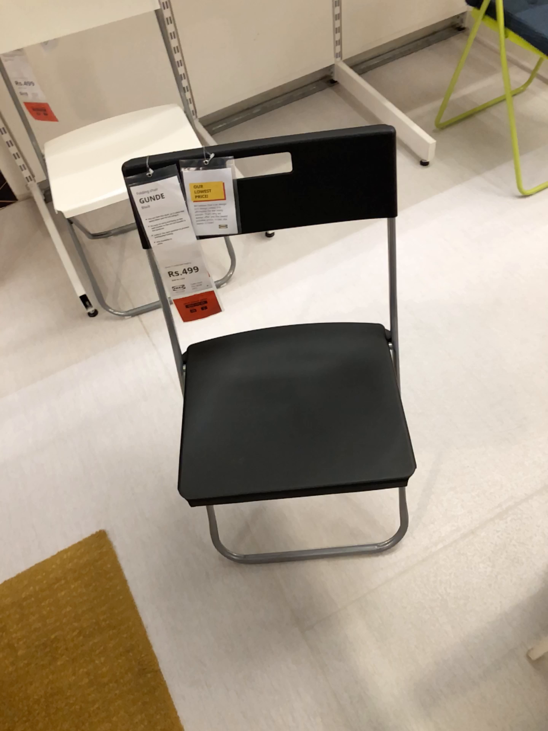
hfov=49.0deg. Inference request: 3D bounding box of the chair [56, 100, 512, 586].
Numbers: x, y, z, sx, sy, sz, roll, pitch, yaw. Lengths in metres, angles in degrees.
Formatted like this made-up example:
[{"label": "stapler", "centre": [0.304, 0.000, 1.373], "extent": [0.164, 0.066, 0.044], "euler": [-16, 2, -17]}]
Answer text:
[{"label": "chair", "centre": [0.033, 0.039, 1.109], "extent": [0.500, 0.786, 0.462], "euler": [-7, 55, 3]}]
